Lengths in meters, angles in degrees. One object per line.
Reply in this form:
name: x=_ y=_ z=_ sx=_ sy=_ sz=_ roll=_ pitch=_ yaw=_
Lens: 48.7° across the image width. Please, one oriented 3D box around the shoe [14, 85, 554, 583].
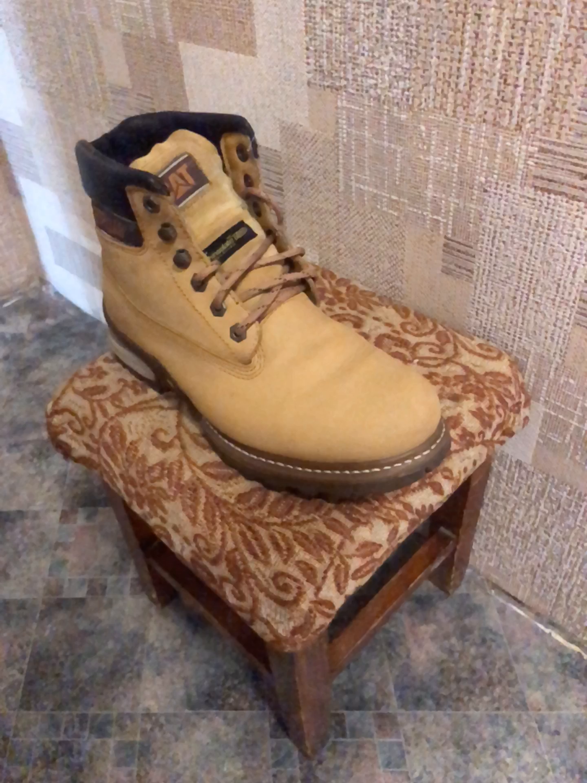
shoe: x=-0.019 y=-0.056 z=0.423 sx=0.291 sy=0.189 sz=0.130 roll=31 pitch=52 yaw=32
